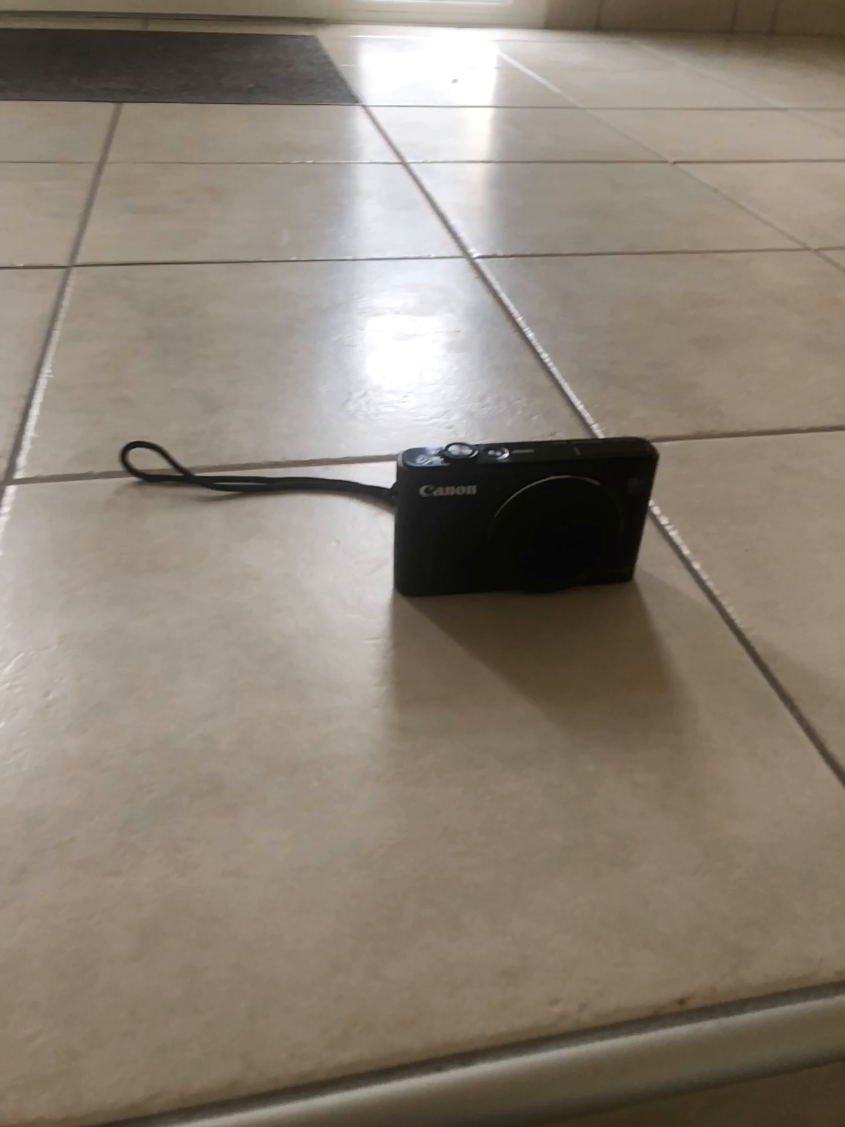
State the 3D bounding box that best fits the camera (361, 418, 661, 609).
[{"bbox_3d":[0.032,-0.021,0.375,0.110,0.060,0.040,-3,36,-9],"label":"camera"}]
